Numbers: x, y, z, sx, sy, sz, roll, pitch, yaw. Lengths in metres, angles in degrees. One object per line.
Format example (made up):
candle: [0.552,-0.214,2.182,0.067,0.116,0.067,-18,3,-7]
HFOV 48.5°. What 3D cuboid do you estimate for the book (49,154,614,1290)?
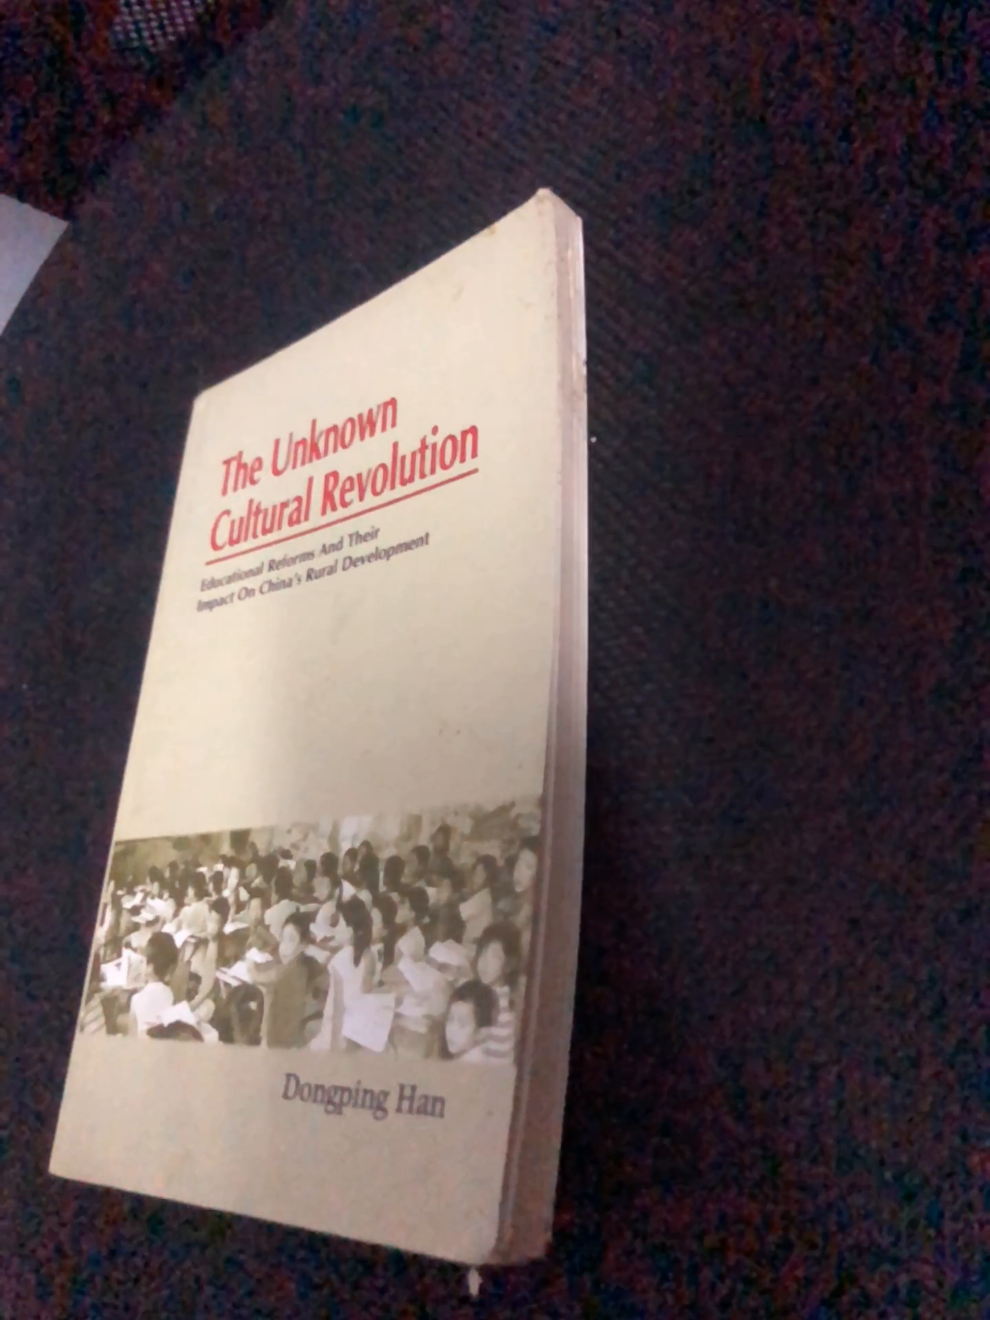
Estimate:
book: [-0.041,0.010,0.256,0.154,0.017,0.214,-13,67,39]
